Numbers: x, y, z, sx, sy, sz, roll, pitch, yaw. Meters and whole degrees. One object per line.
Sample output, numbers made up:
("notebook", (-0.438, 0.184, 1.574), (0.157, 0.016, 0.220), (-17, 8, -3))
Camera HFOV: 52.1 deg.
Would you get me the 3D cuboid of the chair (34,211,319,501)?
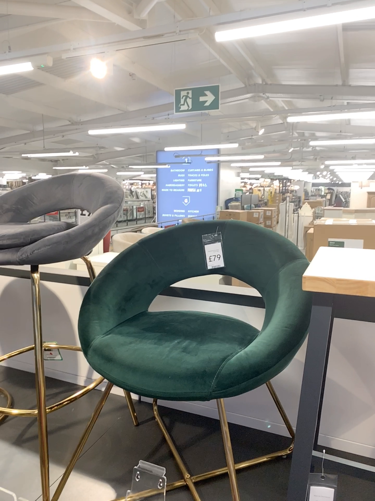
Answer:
("chair", (0.017, 0.292, 1.127), (0.629, 0.774, 0.555), (4, 9, 22))
